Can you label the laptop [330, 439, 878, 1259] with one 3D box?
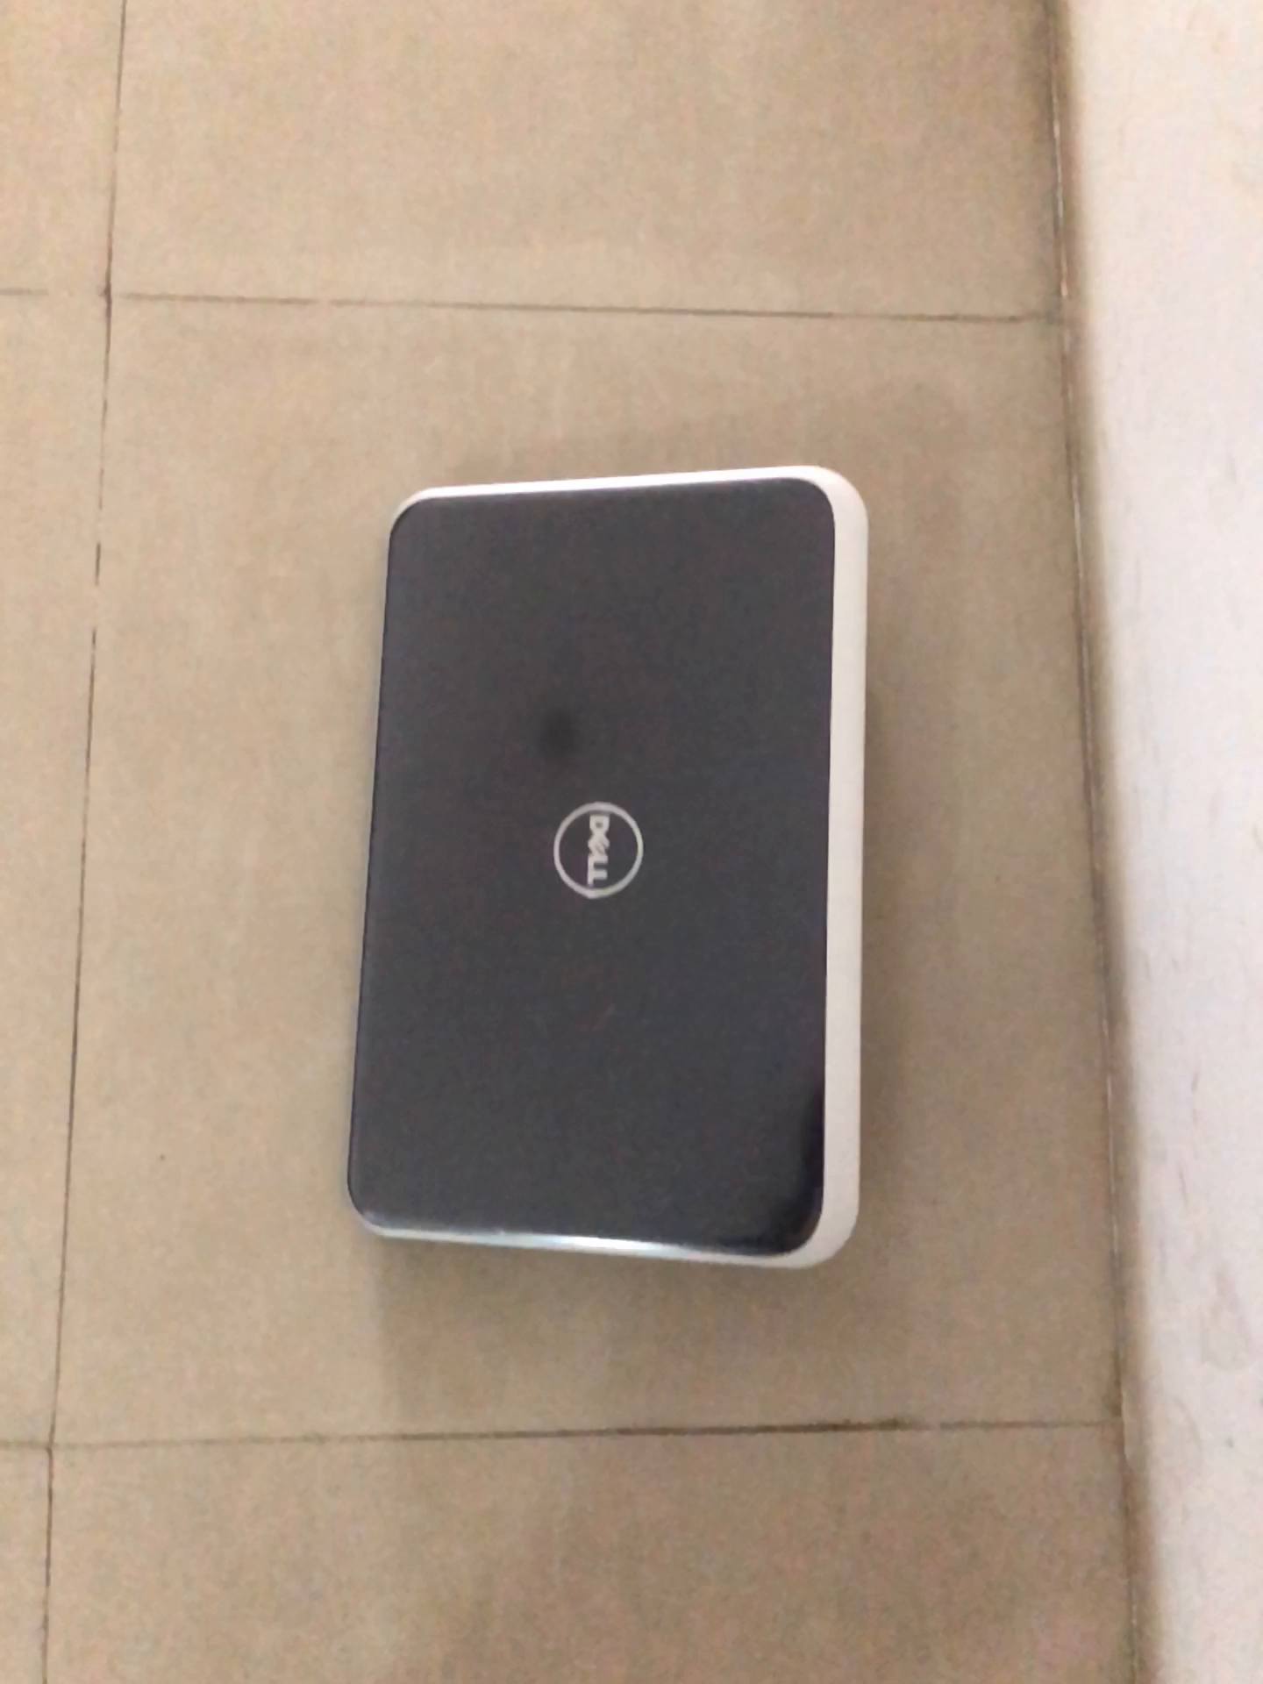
[{"bbox_3d":[-0.011,0.004,0.667,0.234,0.080,0.360,3,84,-1],"label":"laptop"}]
